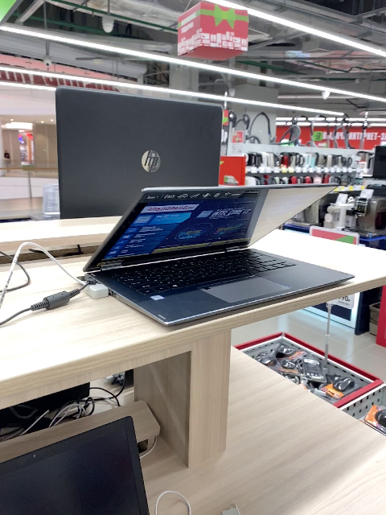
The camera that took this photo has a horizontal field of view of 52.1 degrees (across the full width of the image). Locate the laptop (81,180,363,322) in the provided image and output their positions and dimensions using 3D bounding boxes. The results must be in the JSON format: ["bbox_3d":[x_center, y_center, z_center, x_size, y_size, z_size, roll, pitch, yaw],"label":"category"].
[{"bbox_3d":[0.039,-0.038,0.556,0.320,0.128,0.217,-8,16,-34],"label":"laptop"}]
